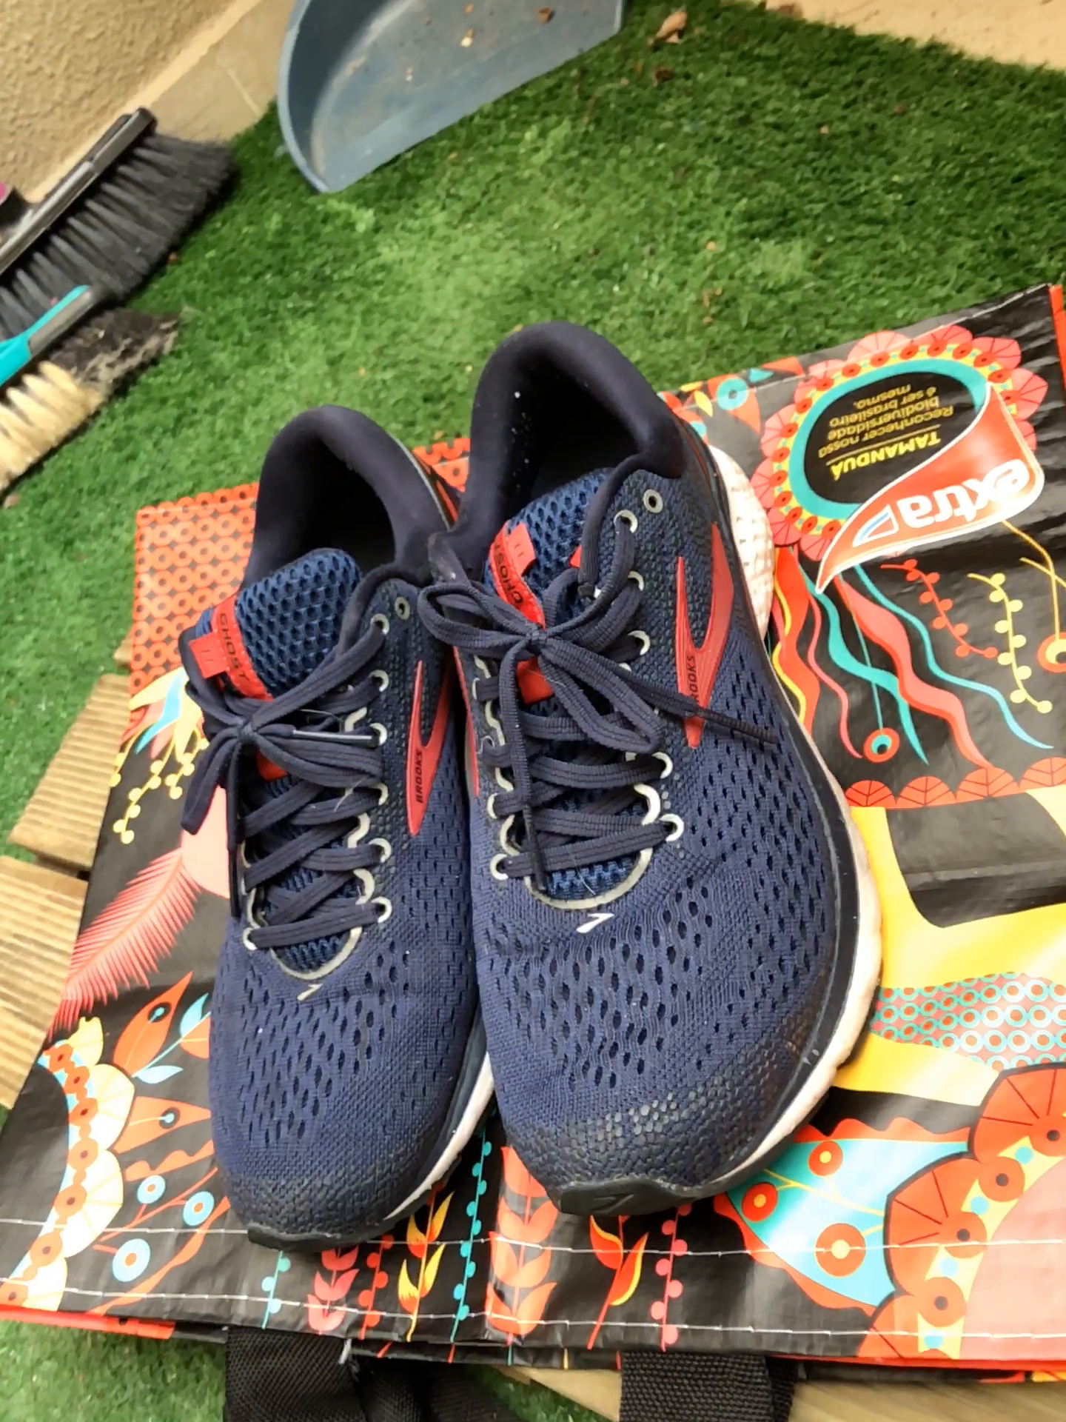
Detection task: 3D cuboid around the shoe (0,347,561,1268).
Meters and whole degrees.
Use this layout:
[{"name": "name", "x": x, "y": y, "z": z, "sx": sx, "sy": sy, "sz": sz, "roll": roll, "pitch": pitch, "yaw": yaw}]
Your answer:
[{"name": "shoe", "x": -0.063, "y": 0.025, "z": 0.384, "sx": 0.107, "sy": 0.099, "sz": 0.266, "roll": -16, "pitch": 53, "yaw": 24}]

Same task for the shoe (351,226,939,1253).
[{"name": "shoe", "x": 0.029, "y": 0.000, "z": 0.341, "sx": 0.100, "sy": 0.099, "sz": 0.266, "roll": -17, "pitch": 52, "yaw": 23}]
